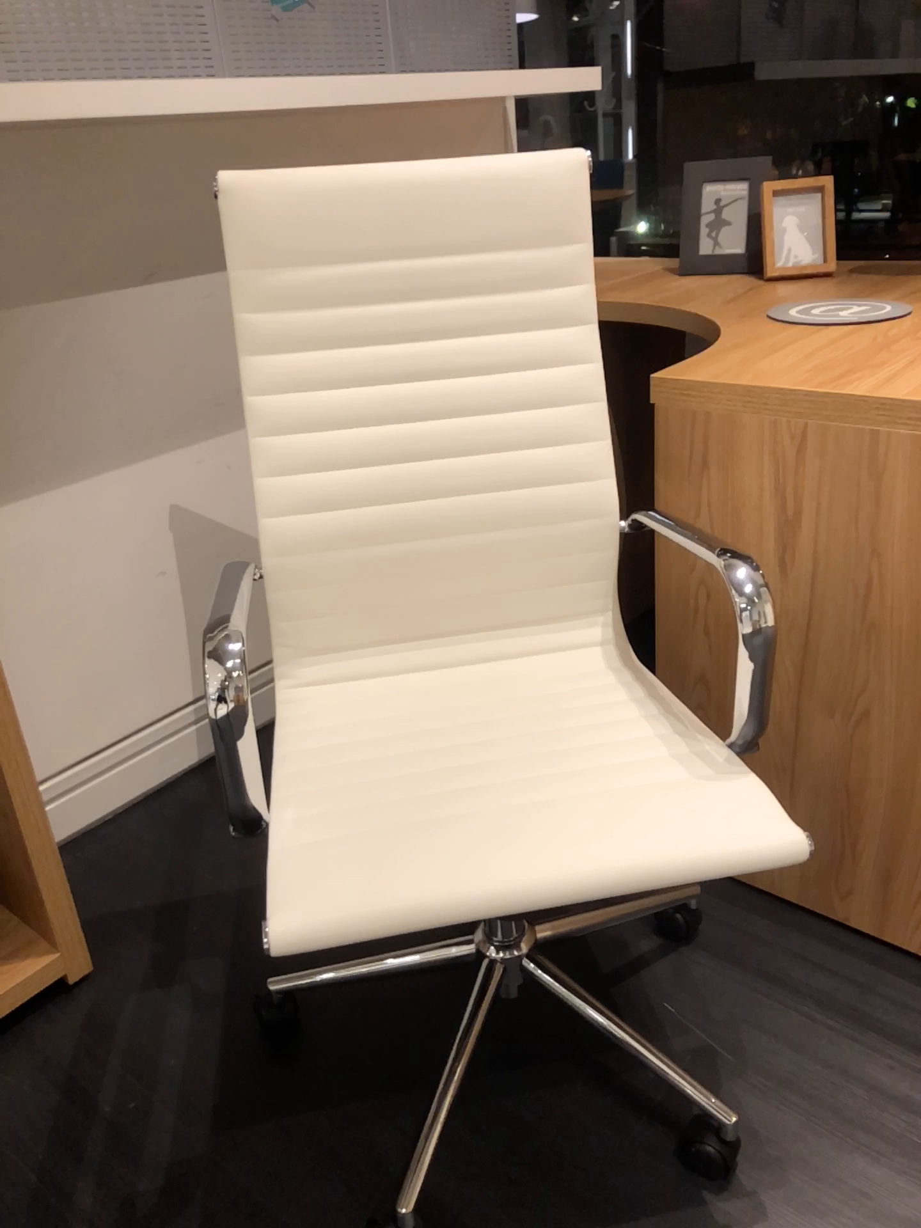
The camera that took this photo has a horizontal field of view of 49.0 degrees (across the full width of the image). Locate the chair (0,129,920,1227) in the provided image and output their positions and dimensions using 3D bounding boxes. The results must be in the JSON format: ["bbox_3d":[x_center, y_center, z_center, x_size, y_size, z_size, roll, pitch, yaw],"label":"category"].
[{"bbox_3d":[0.020,0.051,1.133,0.630,1.013,0.634,-8,25,-7],"label":"chair"}]
